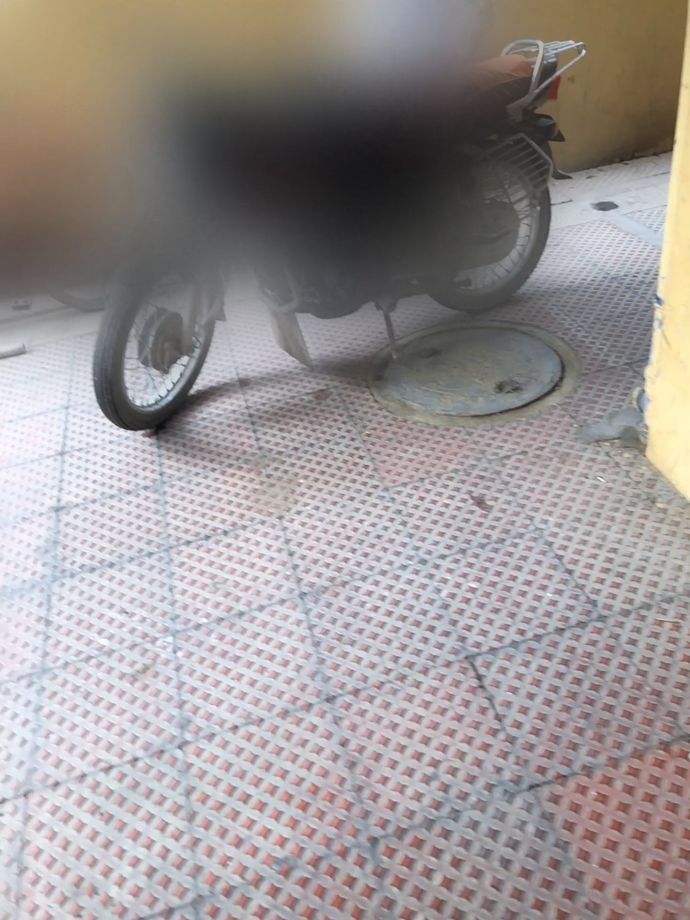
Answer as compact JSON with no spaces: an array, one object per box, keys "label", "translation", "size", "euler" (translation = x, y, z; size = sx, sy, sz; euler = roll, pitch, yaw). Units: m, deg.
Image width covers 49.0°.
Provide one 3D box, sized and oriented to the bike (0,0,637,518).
[{"label":"bike","translation":[-0.049,-0.756,2.251],"size":[1.601,0.974,0.762],"euler":[-27,39,-20]}]
